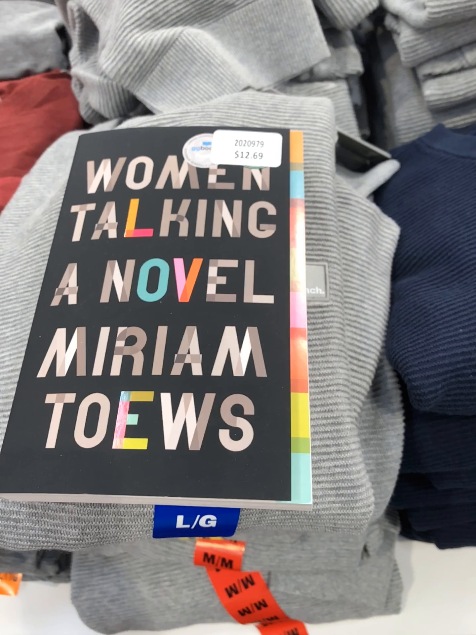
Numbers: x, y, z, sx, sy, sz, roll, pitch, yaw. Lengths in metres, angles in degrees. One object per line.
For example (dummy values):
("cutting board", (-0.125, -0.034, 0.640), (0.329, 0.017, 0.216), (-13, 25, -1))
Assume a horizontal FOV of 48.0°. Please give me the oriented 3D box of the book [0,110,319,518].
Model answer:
("book", (-0.031, -0.016, 0.263), (0.135, 0.020, 0.211), (-1, 62, 6))
